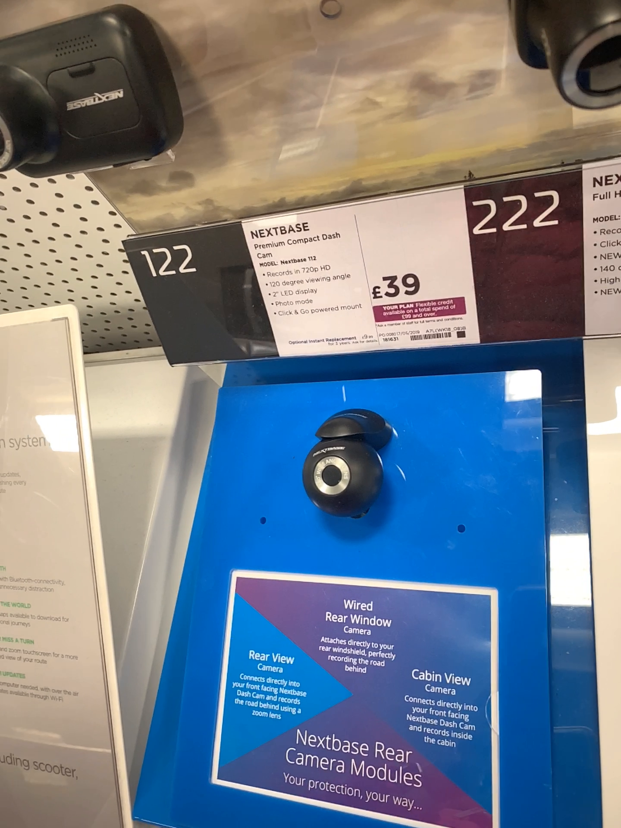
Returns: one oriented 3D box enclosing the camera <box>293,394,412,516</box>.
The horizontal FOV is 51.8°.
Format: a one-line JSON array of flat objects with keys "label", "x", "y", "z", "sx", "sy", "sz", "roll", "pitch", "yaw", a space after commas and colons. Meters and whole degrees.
[{"label": "camera", "x": 0.021, "y": 0.021, "z": 0.292, "sx": 0.040, "sy": 0.050, "sz": 0.050, "roll": -3, "pitch": 80, "yaw": 22}]
